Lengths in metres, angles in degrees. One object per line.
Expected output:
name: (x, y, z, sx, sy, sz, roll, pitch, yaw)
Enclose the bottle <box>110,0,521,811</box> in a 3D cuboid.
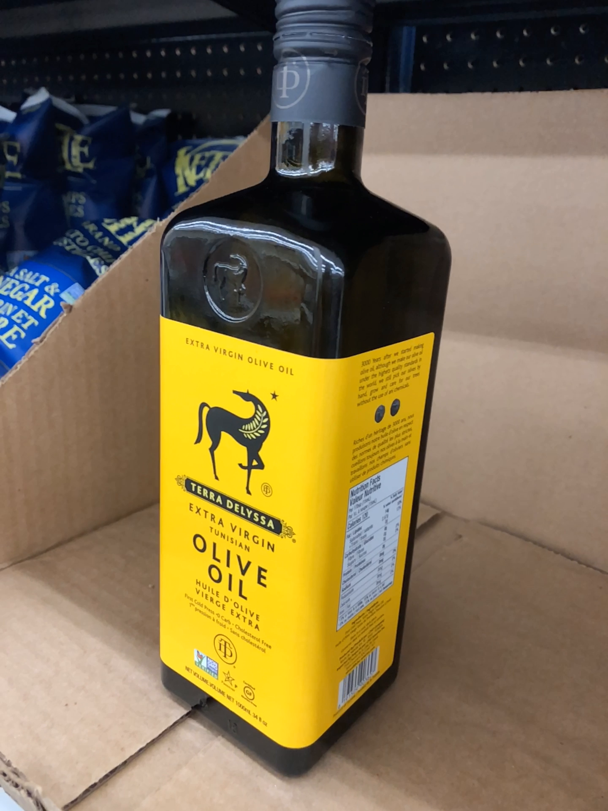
bottle: (0.002, -0.008, 0.258, 0.090, 0.288, 0.090, 1, 20, 0)
